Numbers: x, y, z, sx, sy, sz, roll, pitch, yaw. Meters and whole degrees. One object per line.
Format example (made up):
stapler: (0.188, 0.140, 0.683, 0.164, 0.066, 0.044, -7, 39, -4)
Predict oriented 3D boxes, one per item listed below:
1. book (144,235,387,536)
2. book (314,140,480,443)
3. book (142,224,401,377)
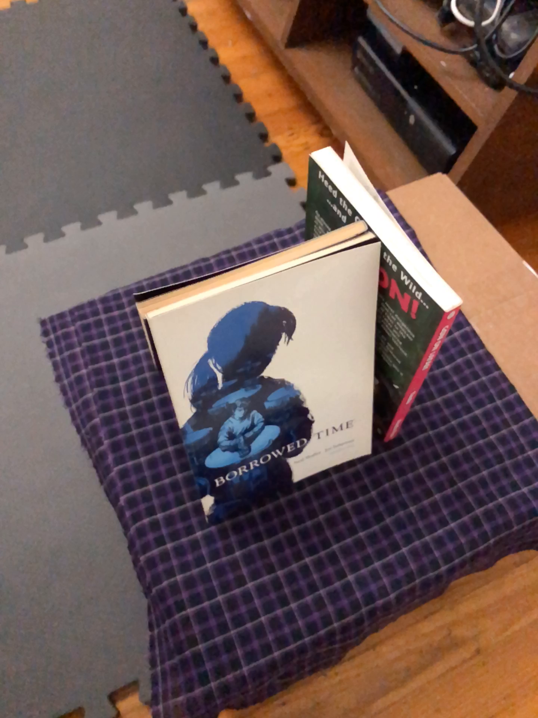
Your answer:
book: (0.010, 0.029, 0.388, 0.140, 0.199, 0.010, -21, 45, -15)
book: (0.075, -0.034, 0.423, 0.020, 0.189, 0.140, -26, 64, -9)
book: (-0.010, -0.031, 0.425, 0.150, 0.200, 0.010, -19, 83, -12)
